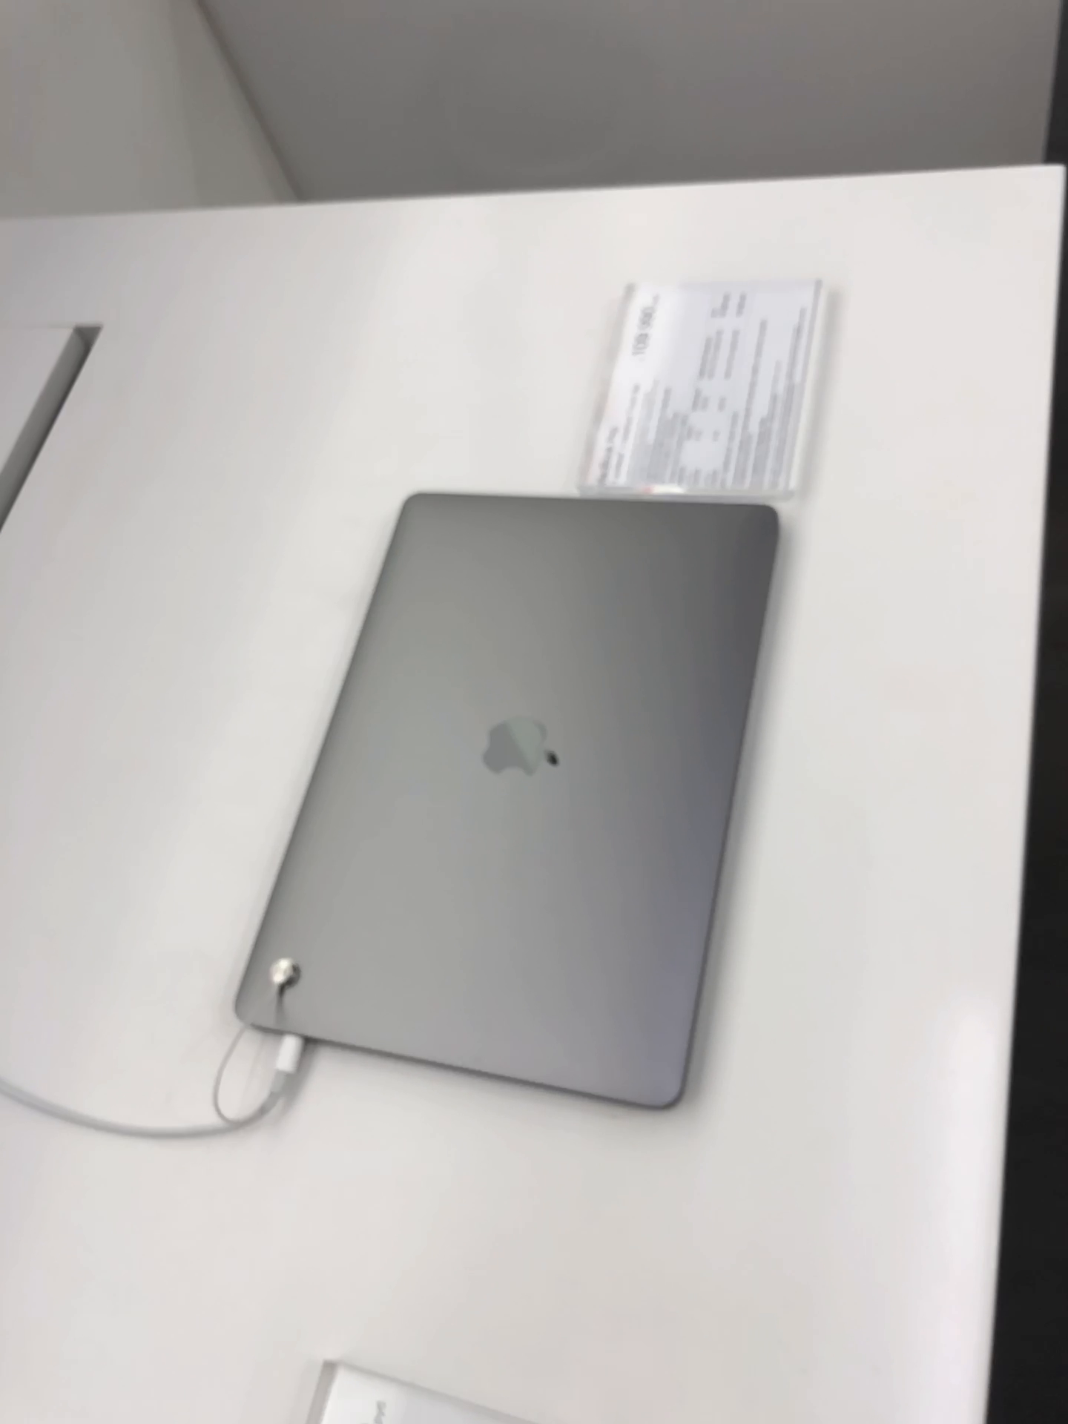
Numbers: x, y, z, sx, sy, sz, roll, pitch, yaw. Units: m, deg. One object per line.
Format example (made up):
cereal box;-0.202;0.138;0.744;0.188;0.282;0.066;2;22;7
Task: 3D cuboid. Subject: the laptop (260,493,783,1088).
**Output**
laptop;0.000;0.015;0.583;0.198;0.001;0.293;6;64;18
